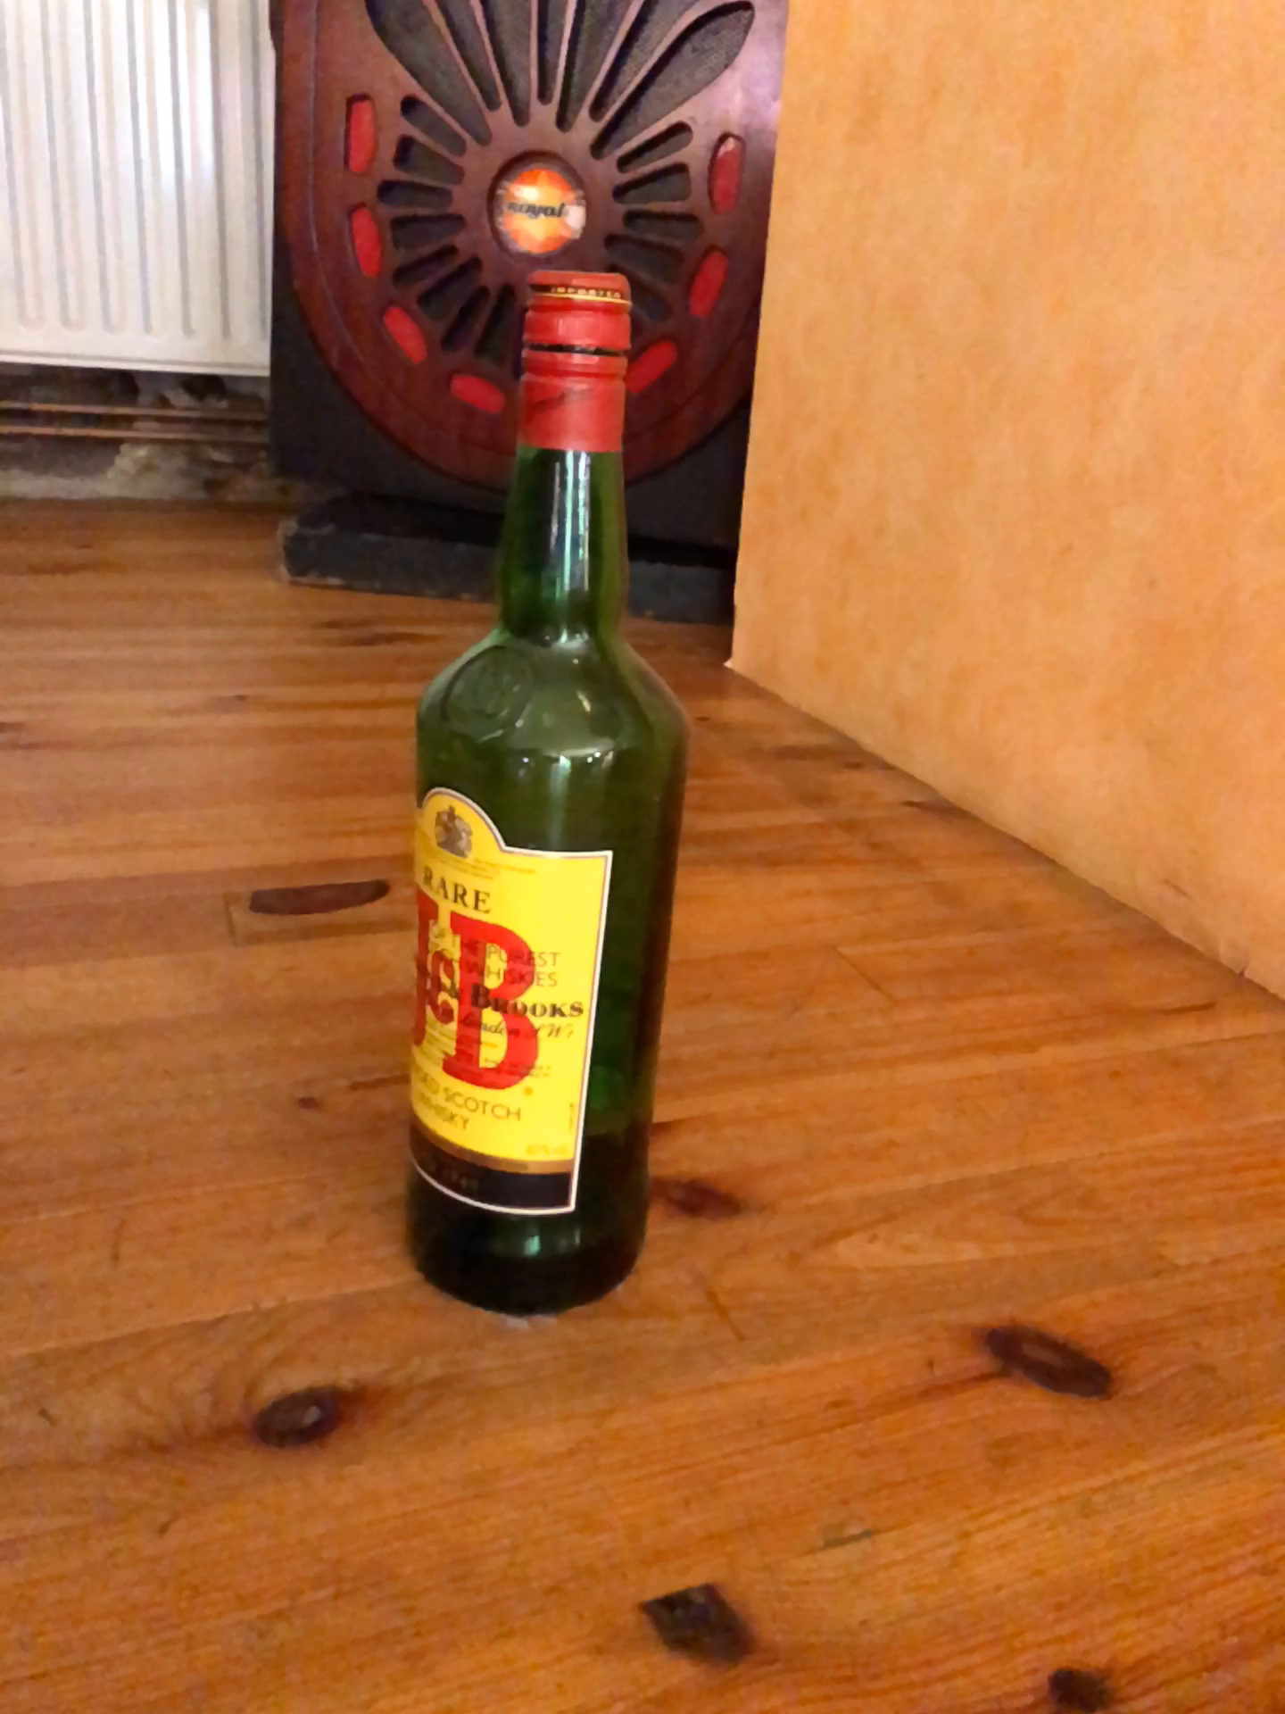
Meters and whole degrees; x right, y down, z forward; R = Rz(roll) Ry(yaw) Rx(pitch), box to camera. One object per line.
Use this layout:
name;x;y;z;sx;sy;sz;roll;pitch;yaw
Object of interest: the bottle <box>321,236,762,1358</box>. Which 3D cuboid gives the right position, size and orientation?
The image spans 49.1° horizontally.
bottle;-0.038;-0.015;0.438;0.090;0.318;0.080;22;27;40
